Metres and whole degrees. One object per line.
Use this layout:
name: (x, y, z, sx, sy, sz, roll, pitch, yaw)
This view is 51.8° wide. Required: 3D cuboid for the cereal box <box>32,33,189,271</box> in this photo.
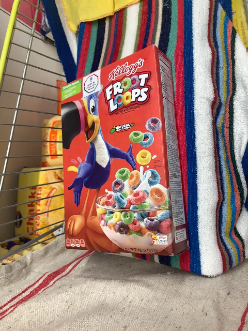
cereal box: (-0.036, -0.006, 0.348, 0.211, 0.060, 0.250, -10, 79, 35)
